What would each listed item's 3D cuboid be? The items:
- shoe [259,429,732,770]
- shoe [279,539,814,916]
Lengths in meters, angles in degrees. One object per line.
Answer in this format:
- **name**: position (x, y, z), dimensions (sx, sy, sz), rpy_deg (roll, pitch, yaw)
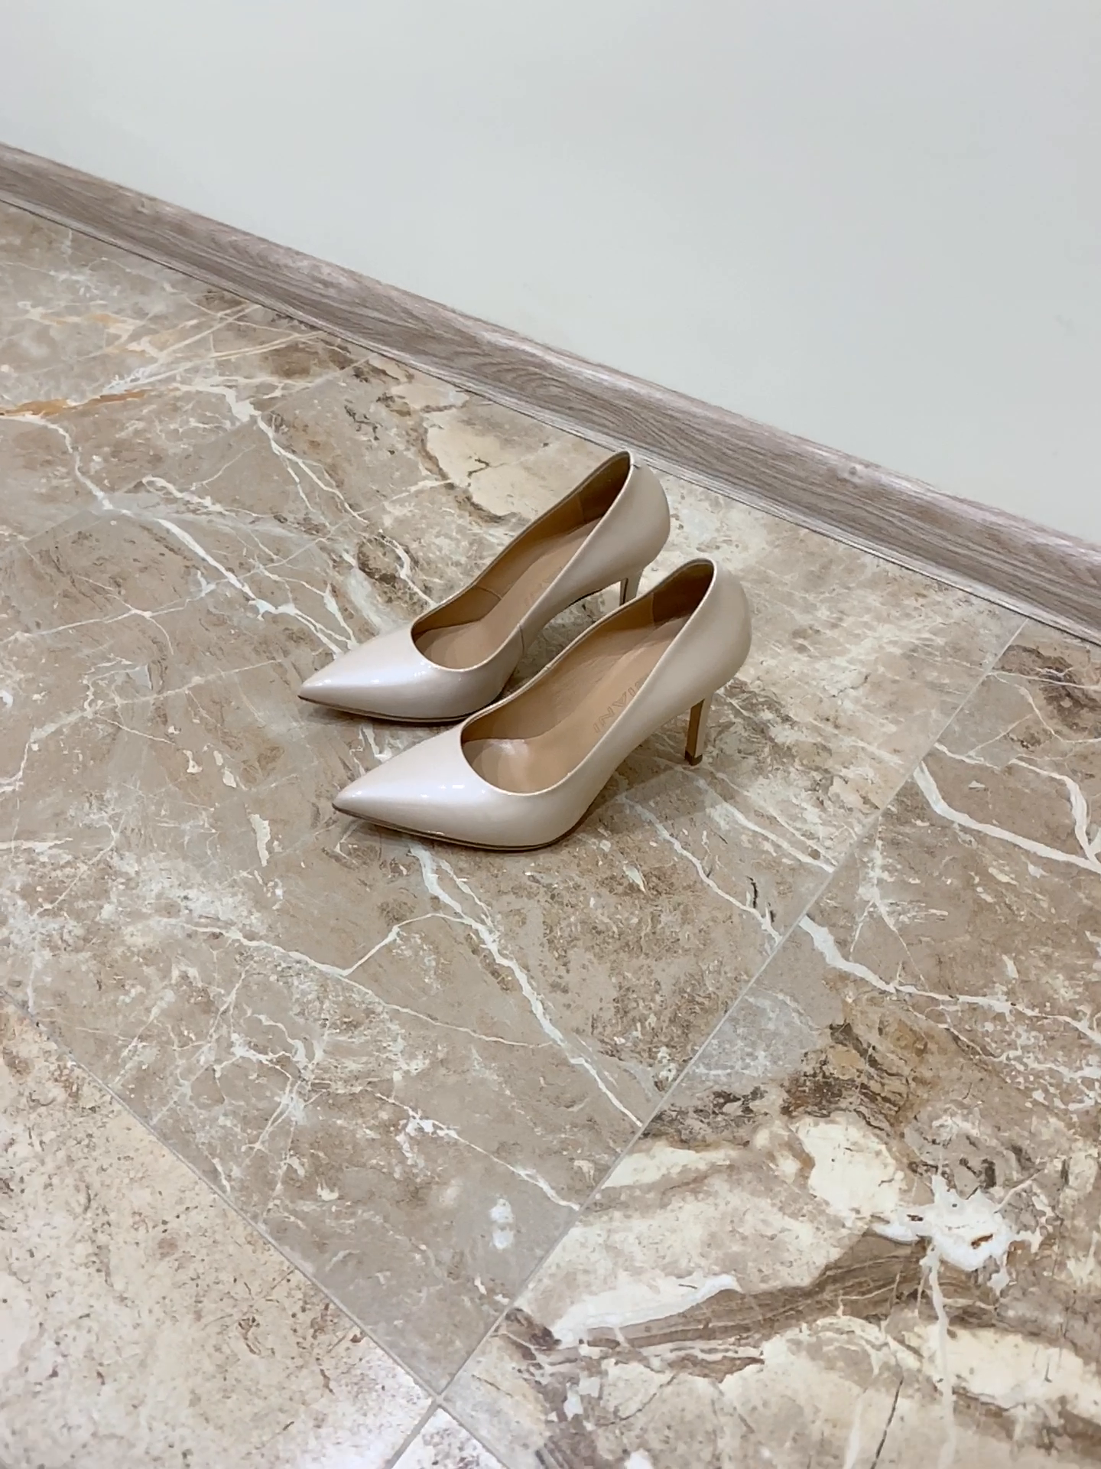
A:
- **shoe**: position (-0.030, -0.080, 0.654), dimensions (0.240, 0.119, 0.090), rpy_deg (-14, 47, -13)
- **shoe**: position (-0.003, -0.006, 0.580), dimensions (0.240, 0.109, 0.090), rpy_deg (-14, 47, -13)
